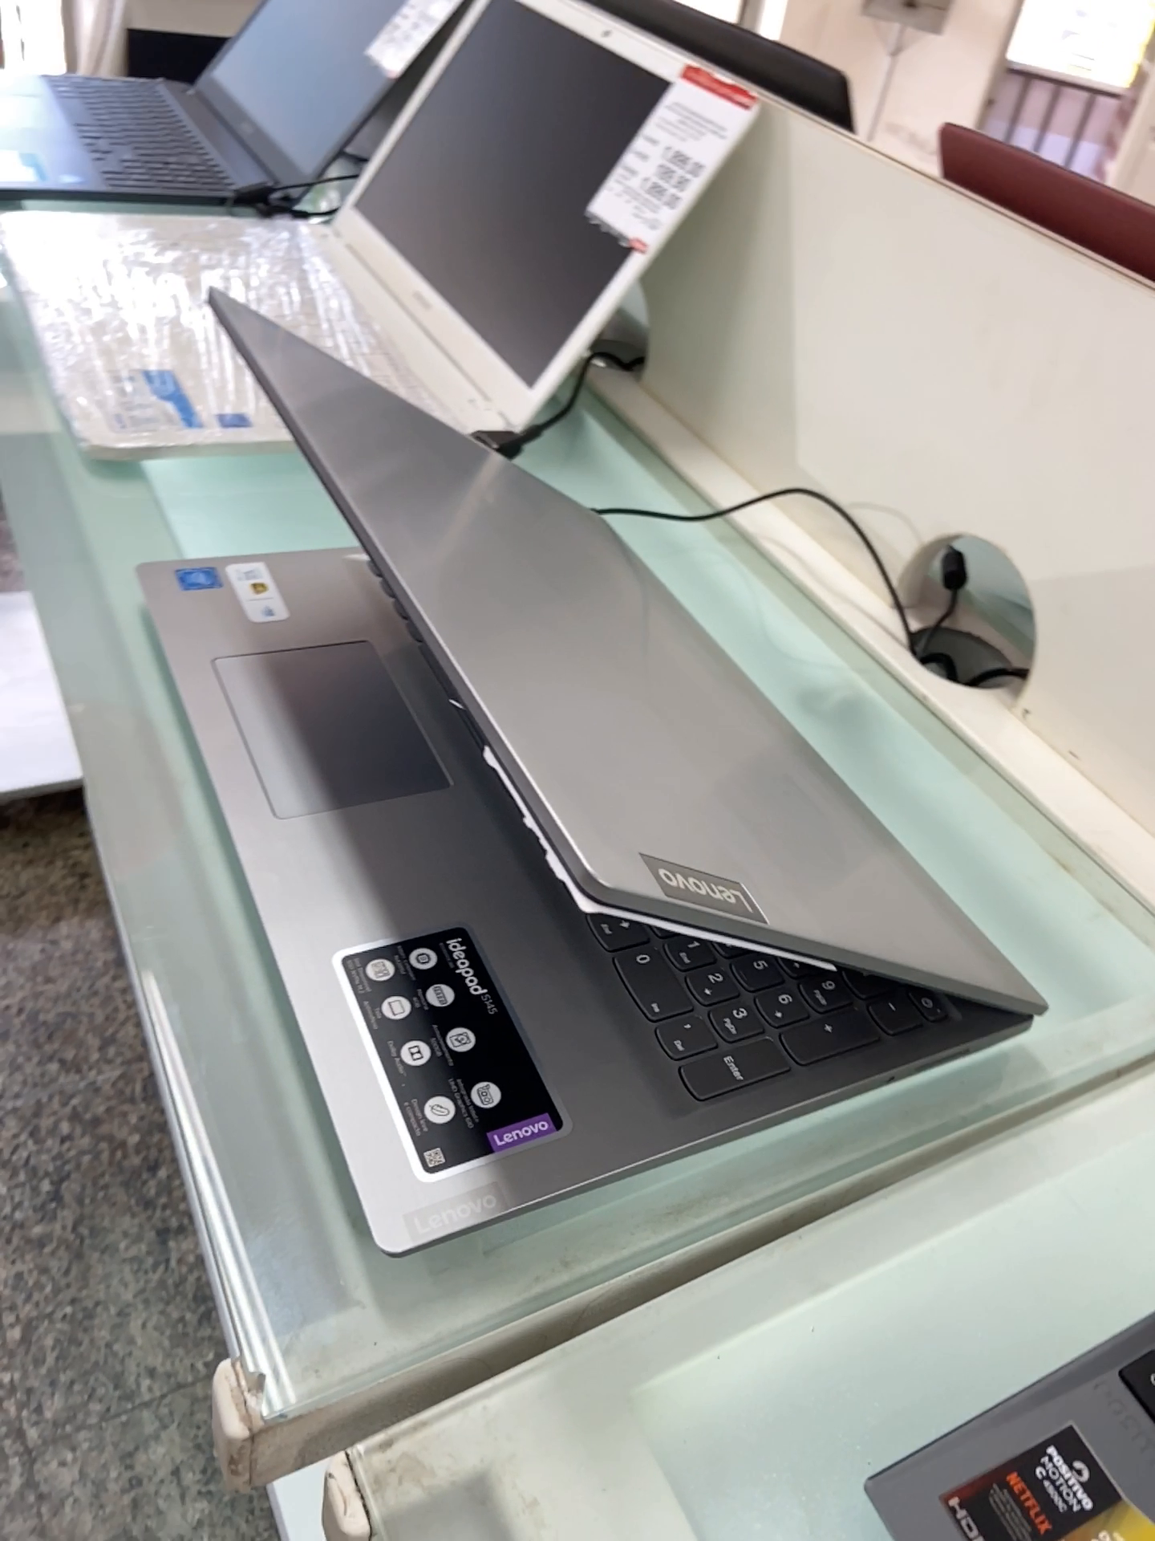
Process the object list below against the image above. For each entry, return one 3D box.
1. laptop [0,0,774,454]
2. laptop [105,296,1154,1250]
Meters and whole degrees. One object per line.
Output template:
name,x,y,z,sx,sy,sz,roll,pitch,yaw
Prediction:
laptop,-0.166,-0.402,0.794,0.383,0.202,0.411,-9,43,-24
laptop,-0.013,-0.052,0.460,0.250,0.127,0.365,-10,43,-26
